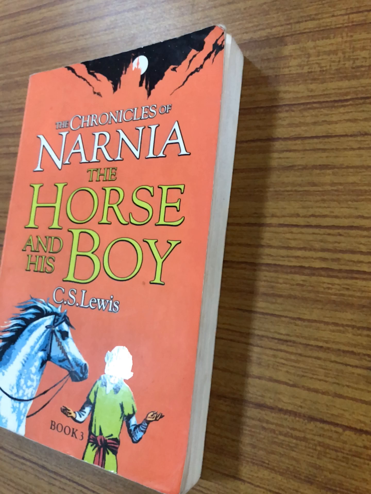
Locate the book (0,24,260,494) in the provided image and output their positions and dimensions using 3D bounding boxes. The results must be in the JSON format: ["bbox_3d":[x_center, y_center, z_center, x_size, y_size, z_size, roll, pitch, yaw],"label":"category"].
[{"bbox_3d":[-0.040,0.005,0.202,0.130,0.030,0.190,3,84,30],"label":"book"}]
